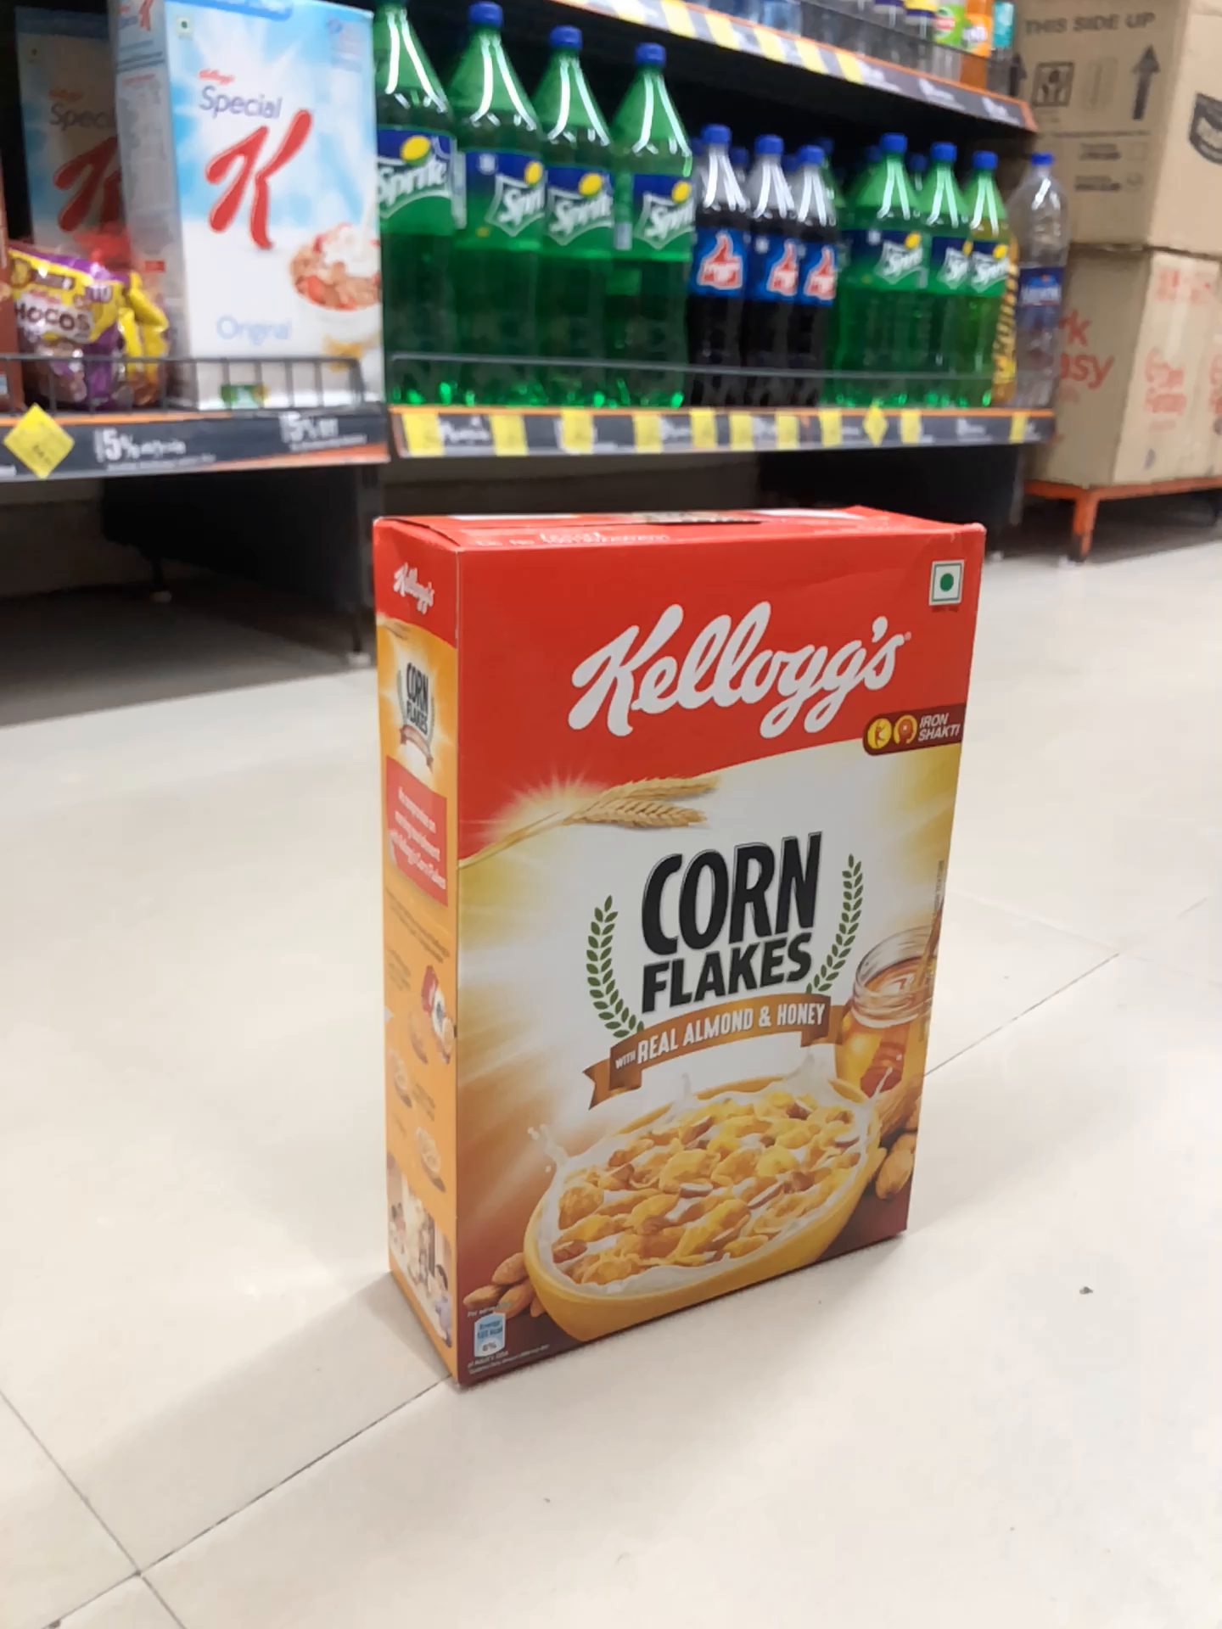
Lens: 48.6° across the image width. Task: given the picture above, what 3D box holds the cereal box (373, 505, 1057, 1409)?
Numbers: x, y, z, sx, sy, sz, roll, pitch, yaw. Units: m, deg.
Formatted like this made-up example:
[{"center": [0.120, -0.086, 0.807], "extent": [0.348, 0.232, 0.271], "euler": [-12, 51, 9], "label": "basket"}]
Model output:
[{"center": [0.028, 0.034, 0.431], "extent": [0.191, 0.249, 0.070], "euler": [-8, 21, -28], "label": "cereal box"}]
